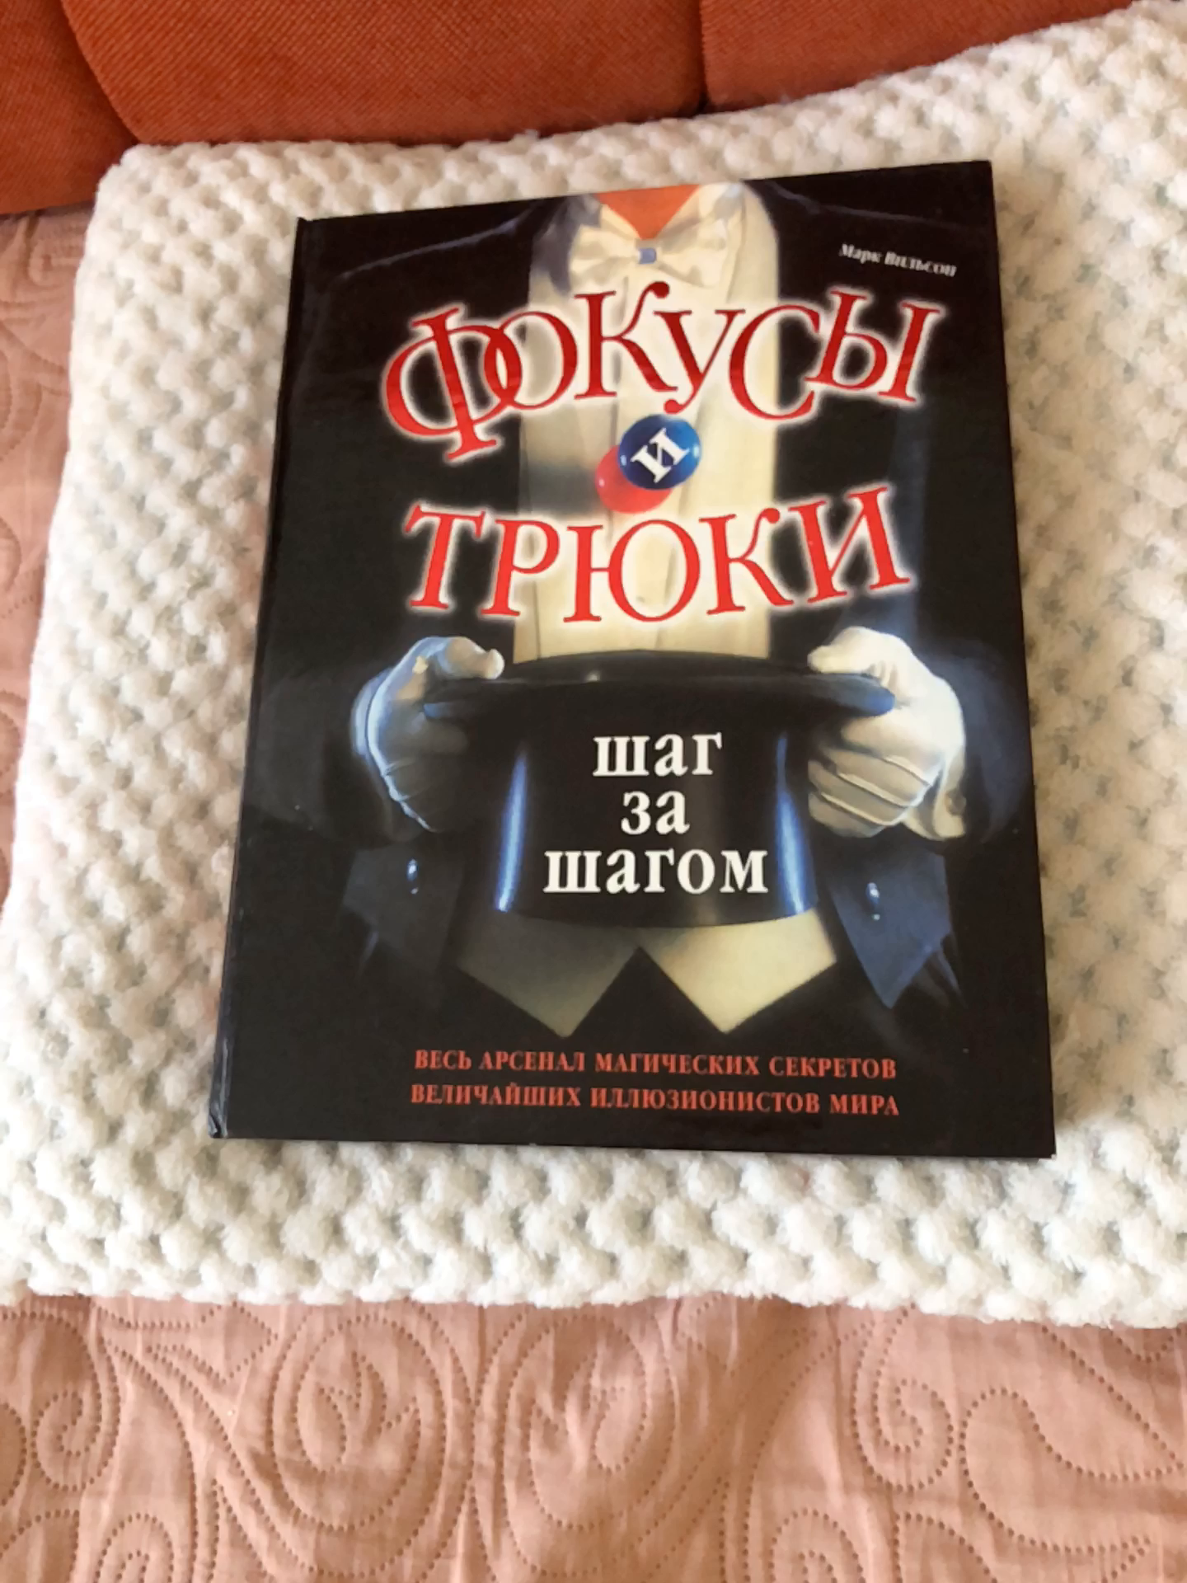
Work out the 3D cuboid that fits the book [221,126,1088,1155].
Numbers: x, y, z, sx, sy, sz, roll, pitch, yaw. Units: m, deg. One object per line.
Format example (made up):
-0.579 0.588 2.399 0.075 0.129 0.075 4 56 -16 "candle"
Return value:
0.015 -0.044 0.357 0.200 0.040 0.271 -1 74 9 "book"
